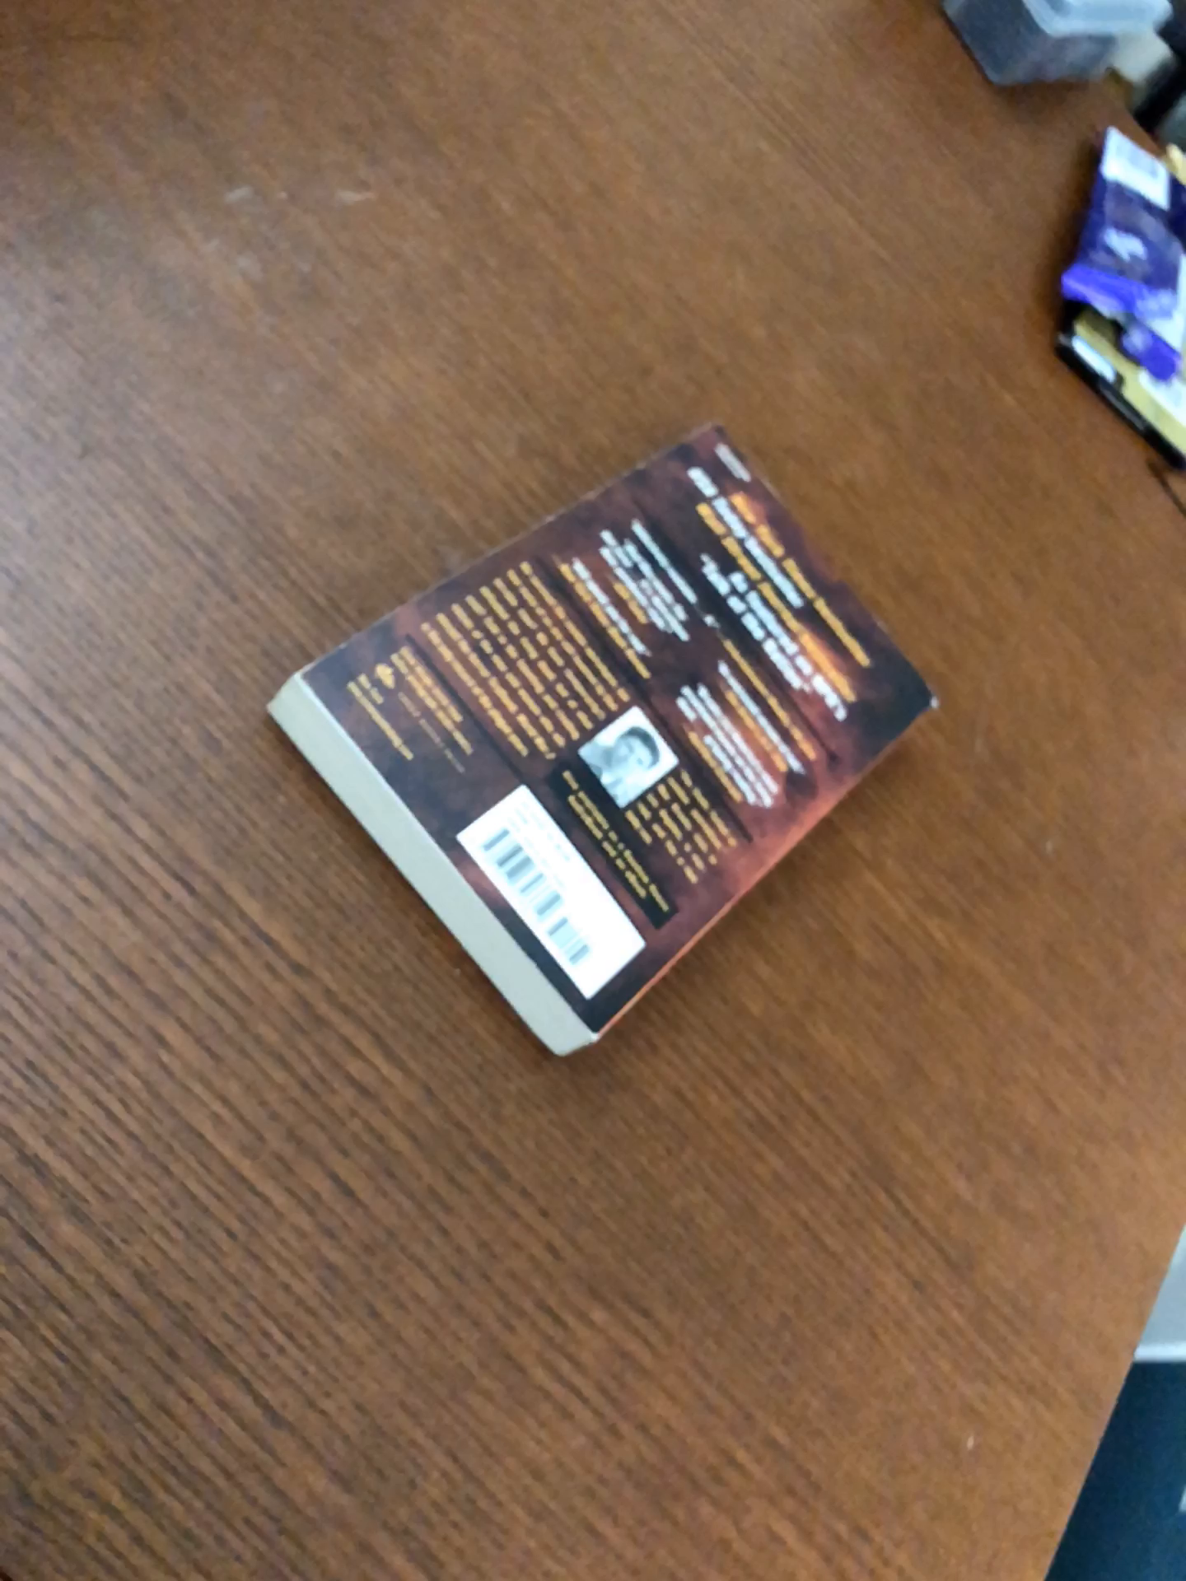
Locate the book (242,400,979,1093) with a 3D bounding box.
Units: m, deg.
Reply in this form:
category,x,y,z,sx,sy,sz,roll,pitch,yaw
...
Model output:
category,x,y,z,sx,sy,sz,roll,pitch,yaw
book,0.020,-0.029,0.431,0.221,0.030,0.140,-37,89,-36
